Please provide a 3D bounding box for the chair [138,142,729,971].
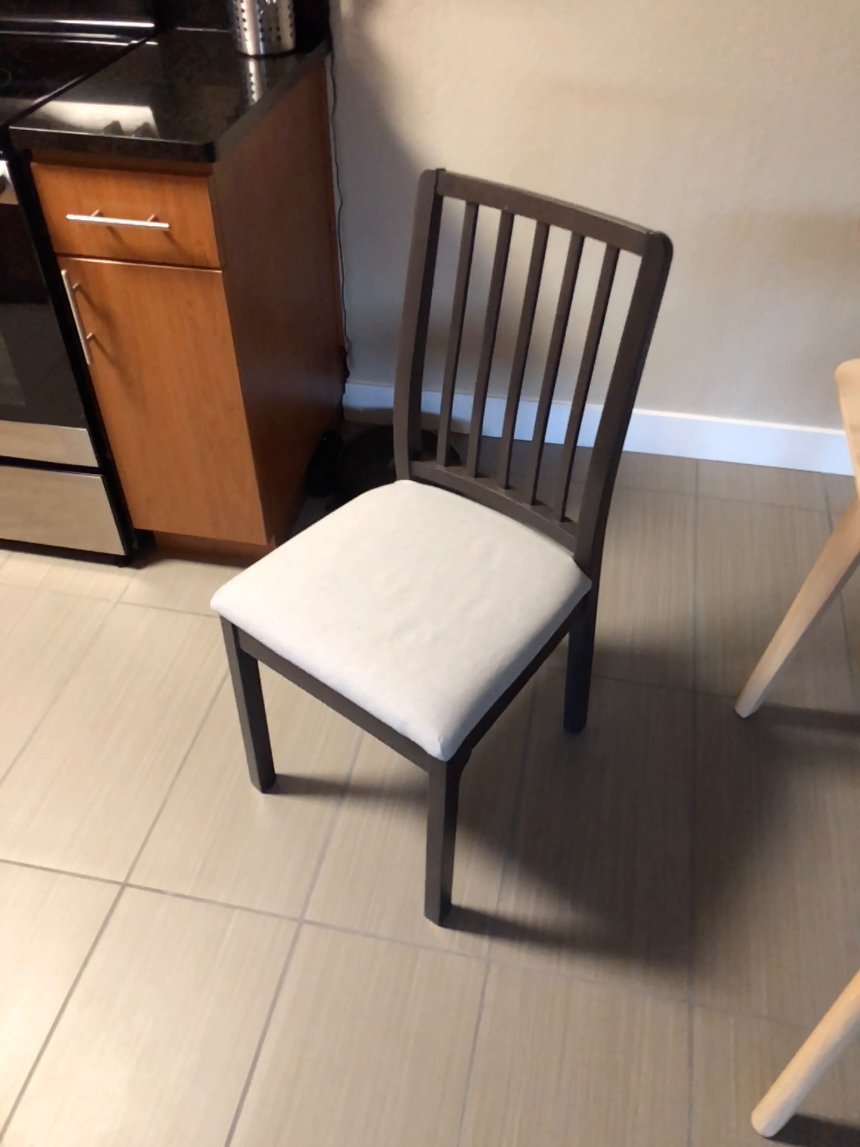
[{"bbox_3d":[0.010,0.023,1.490,0.481,1.125,0.511,32,51,30],"label":"chair"}]
